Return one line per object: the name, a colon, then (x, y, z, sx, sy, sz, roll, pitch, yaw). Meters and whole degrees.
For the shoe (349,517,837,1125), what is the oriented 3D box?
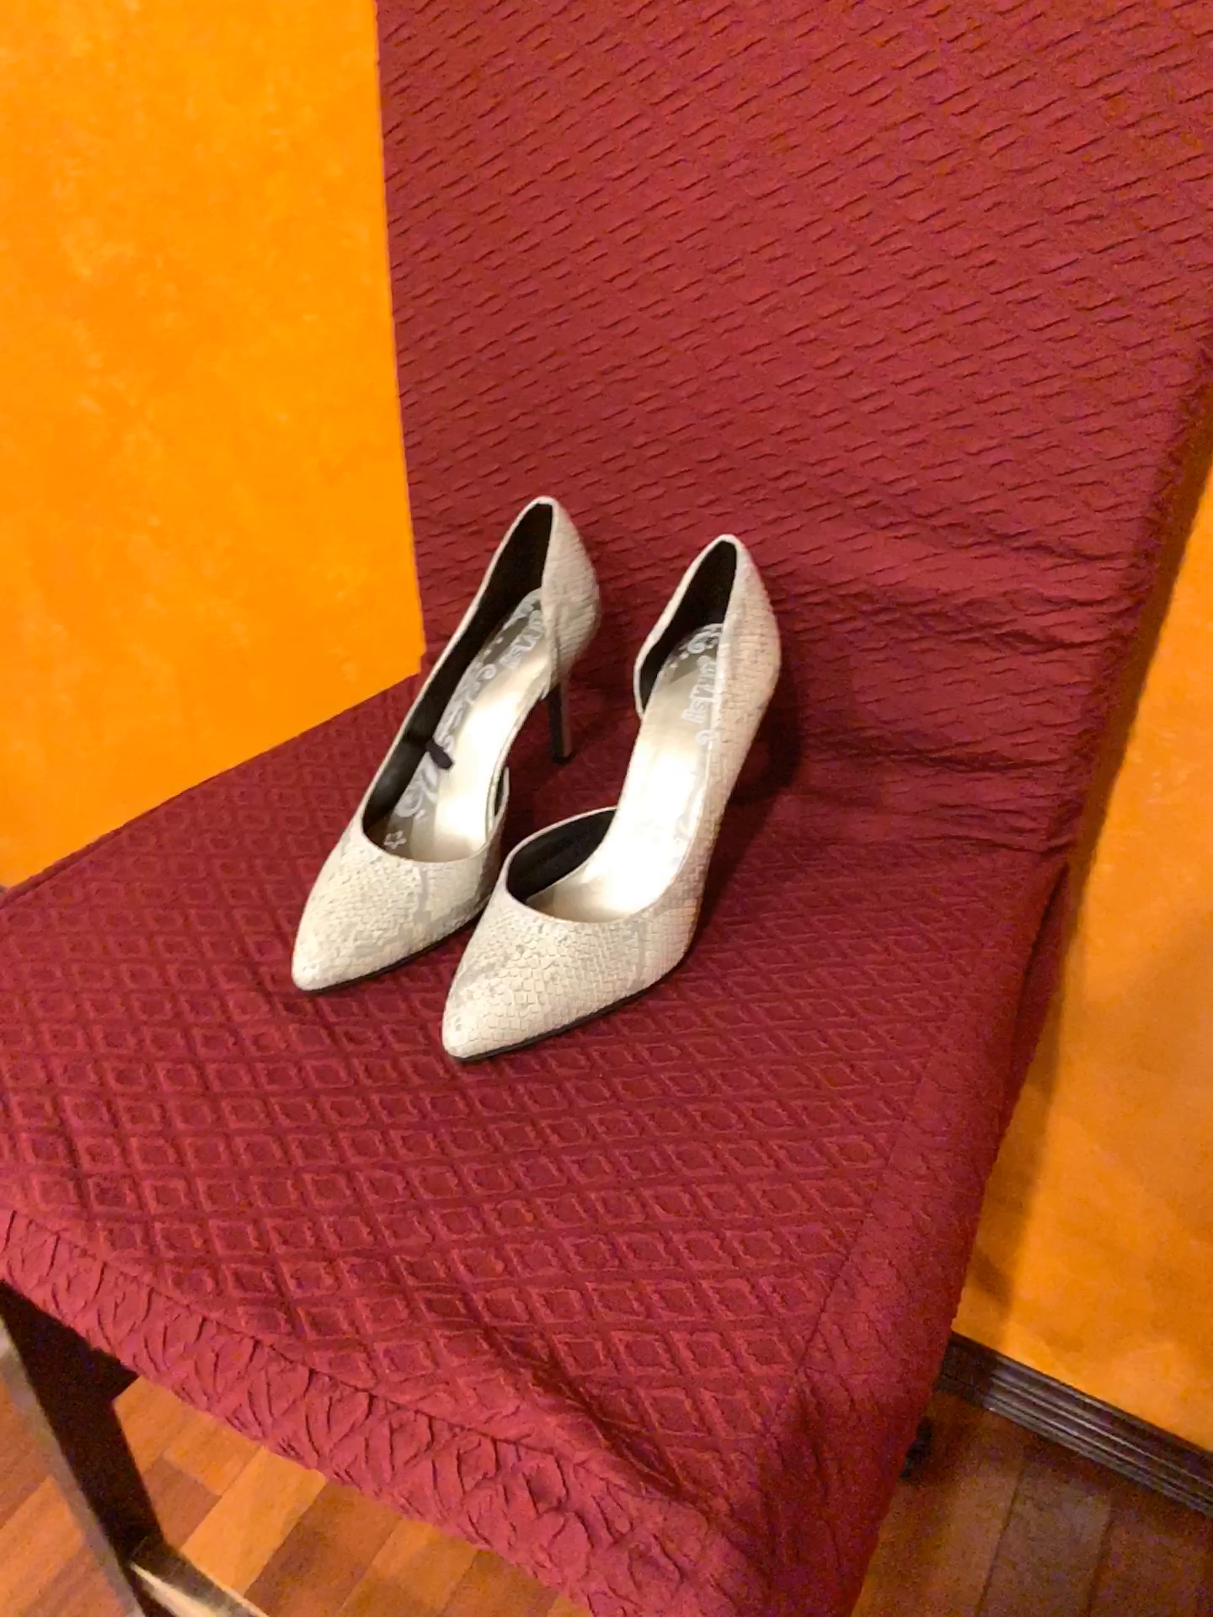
shoe: (0.009, -0.009, 0.541, 0.090, 0.120, 0.249, 18, 44, 22)

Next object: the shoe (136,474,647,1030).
shoe: (-0.078, -0.040, 0.578, 0.090, 0.119, 0.253, 18, 44, 22)
